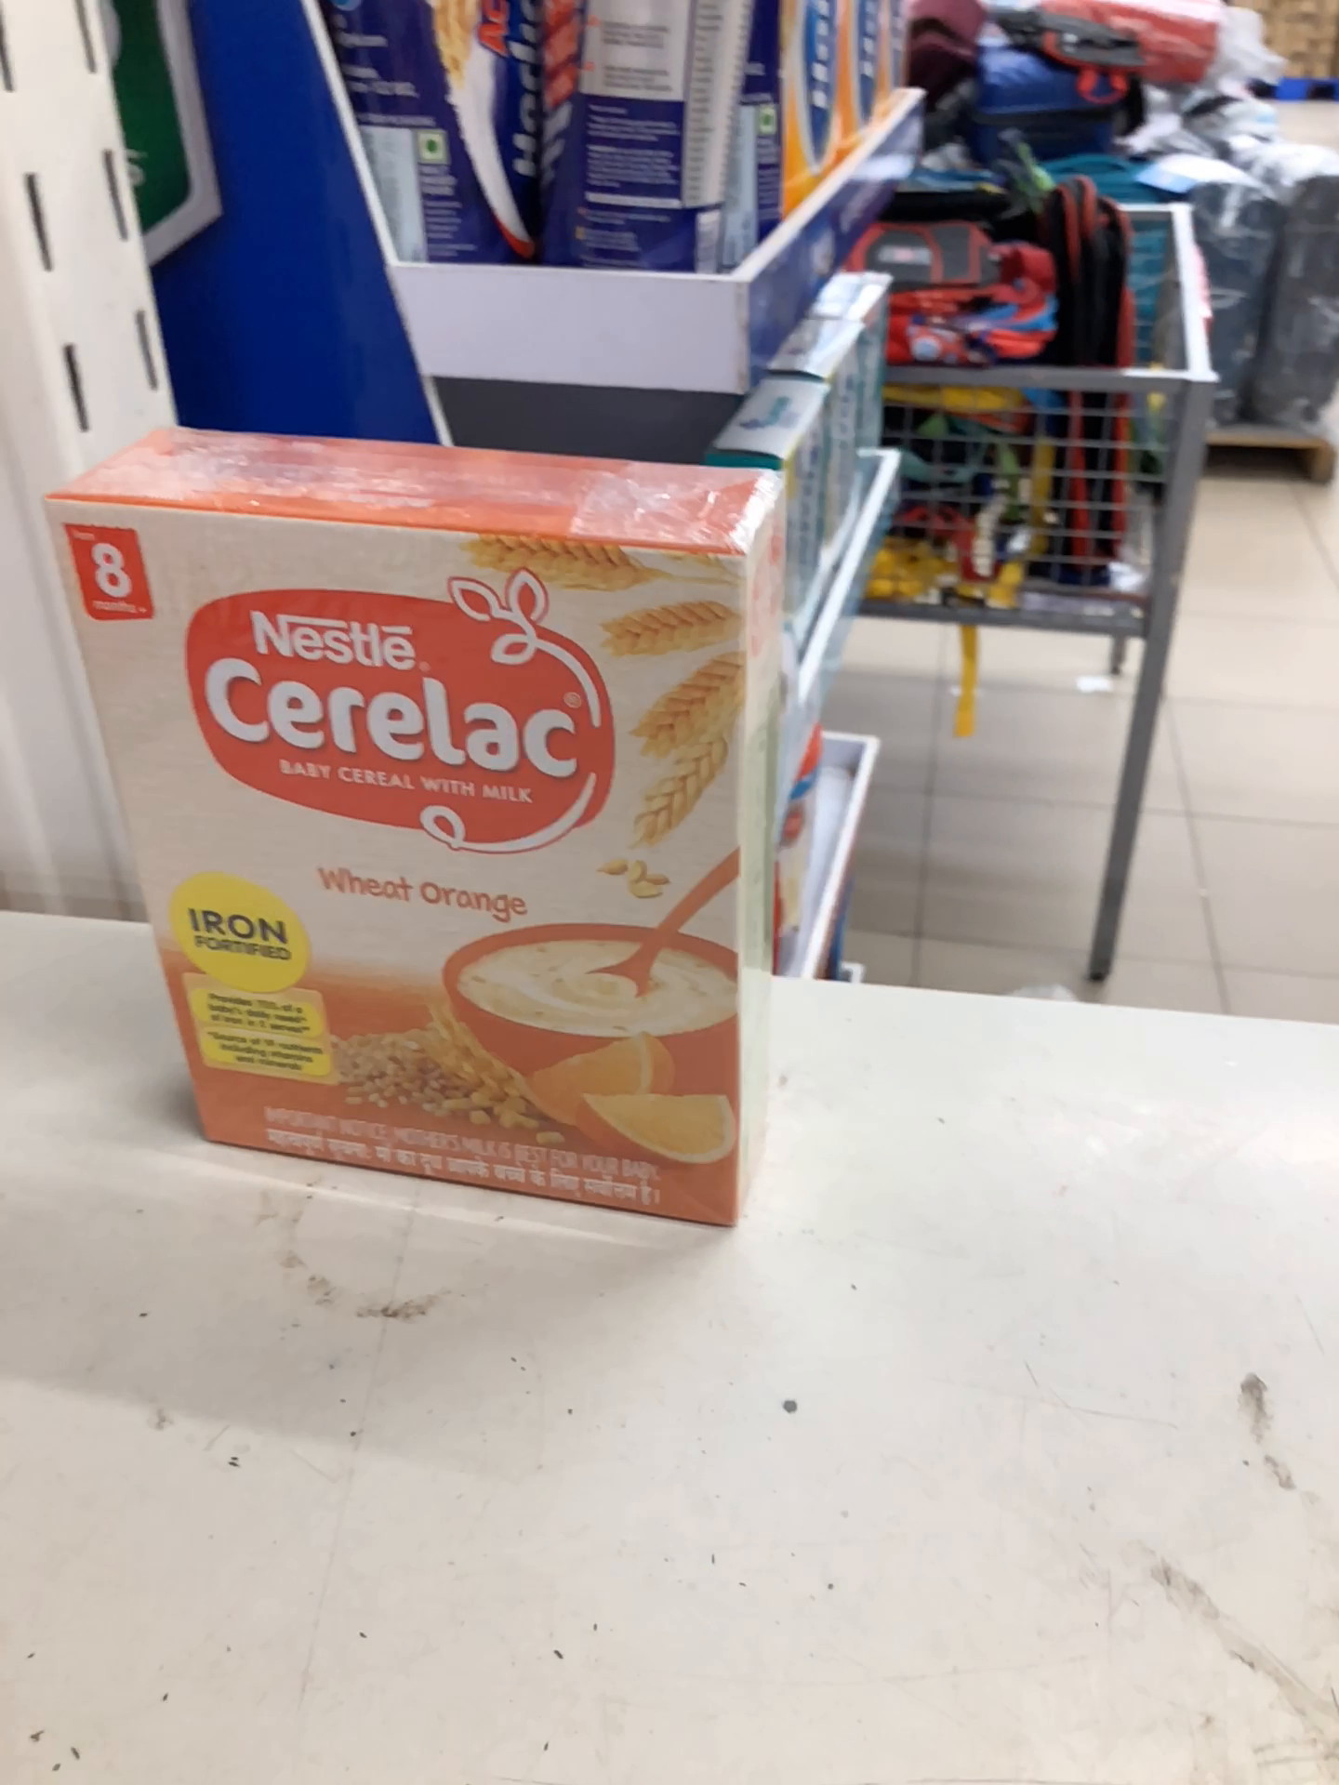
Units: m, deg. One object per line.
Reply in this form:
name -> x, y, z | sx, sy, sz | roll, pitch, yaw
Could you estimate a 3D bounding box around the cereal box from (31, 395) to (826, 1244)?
cereal box -> -0.048, -0.012, 0.371 | 0.160, 0.199, 0.050 | 7, 36, 12
